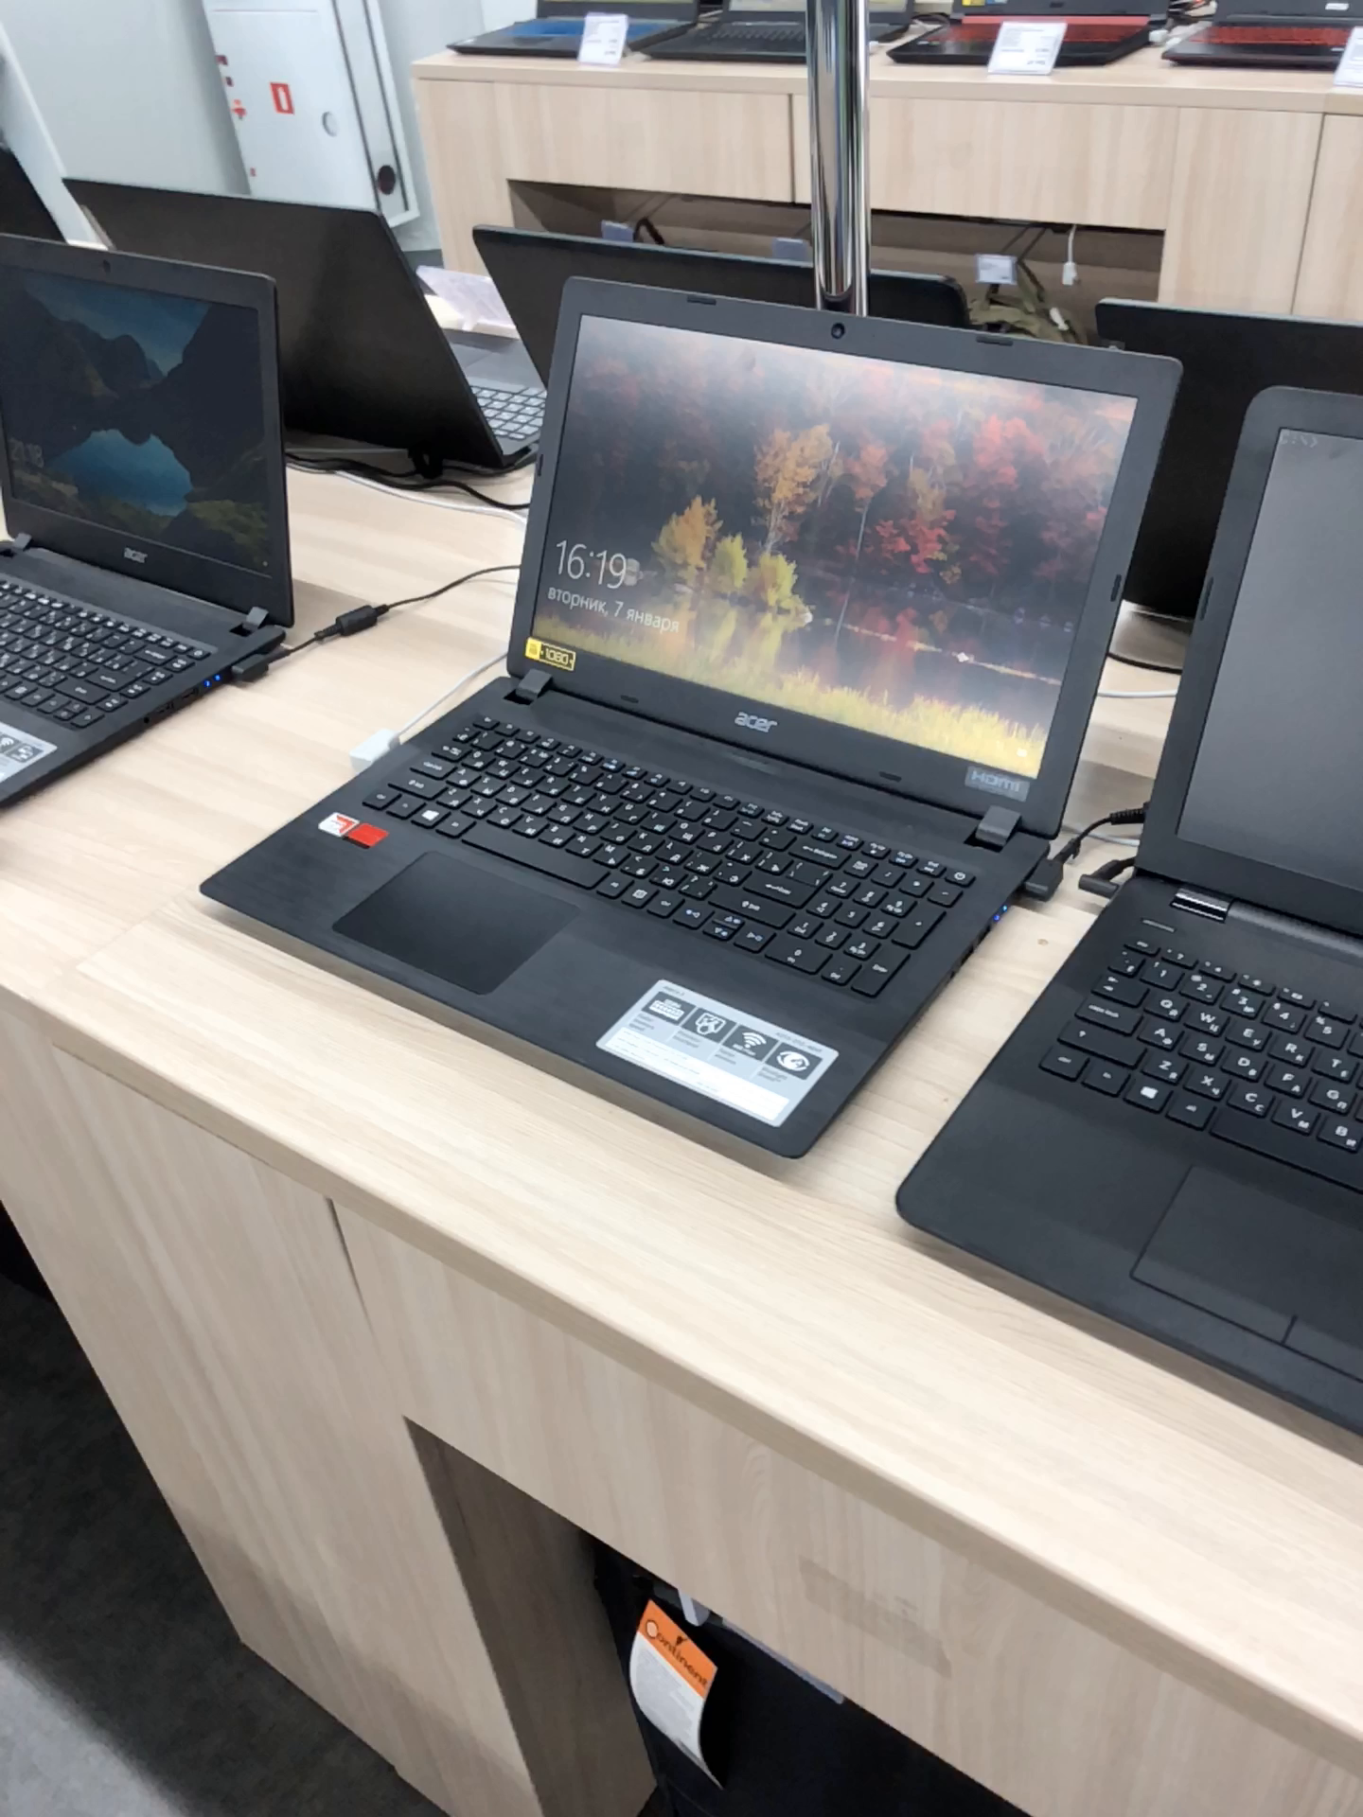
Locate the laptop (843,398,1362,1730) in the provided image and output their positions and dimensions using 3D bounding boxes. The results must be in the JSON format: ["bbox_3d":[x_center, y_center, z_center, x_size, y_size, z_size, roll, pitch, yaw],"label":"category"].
[{"bbox_3d":[0.323,0.001,0.541,0.378,0.212,0.339,22,45,30],"label":"laptop"}]

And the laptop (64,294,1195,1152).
[{"bbox_3d":[-0.007,-0.134,0.760,0.374,0.208,0.368,20,45,29],"label":"laptop"}]

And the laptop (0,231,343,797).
[{"bbox_3d":[-0.469,-0.284,1.006,0.306,0.214,0.301,21,46,30],"label":"laptop"}]
